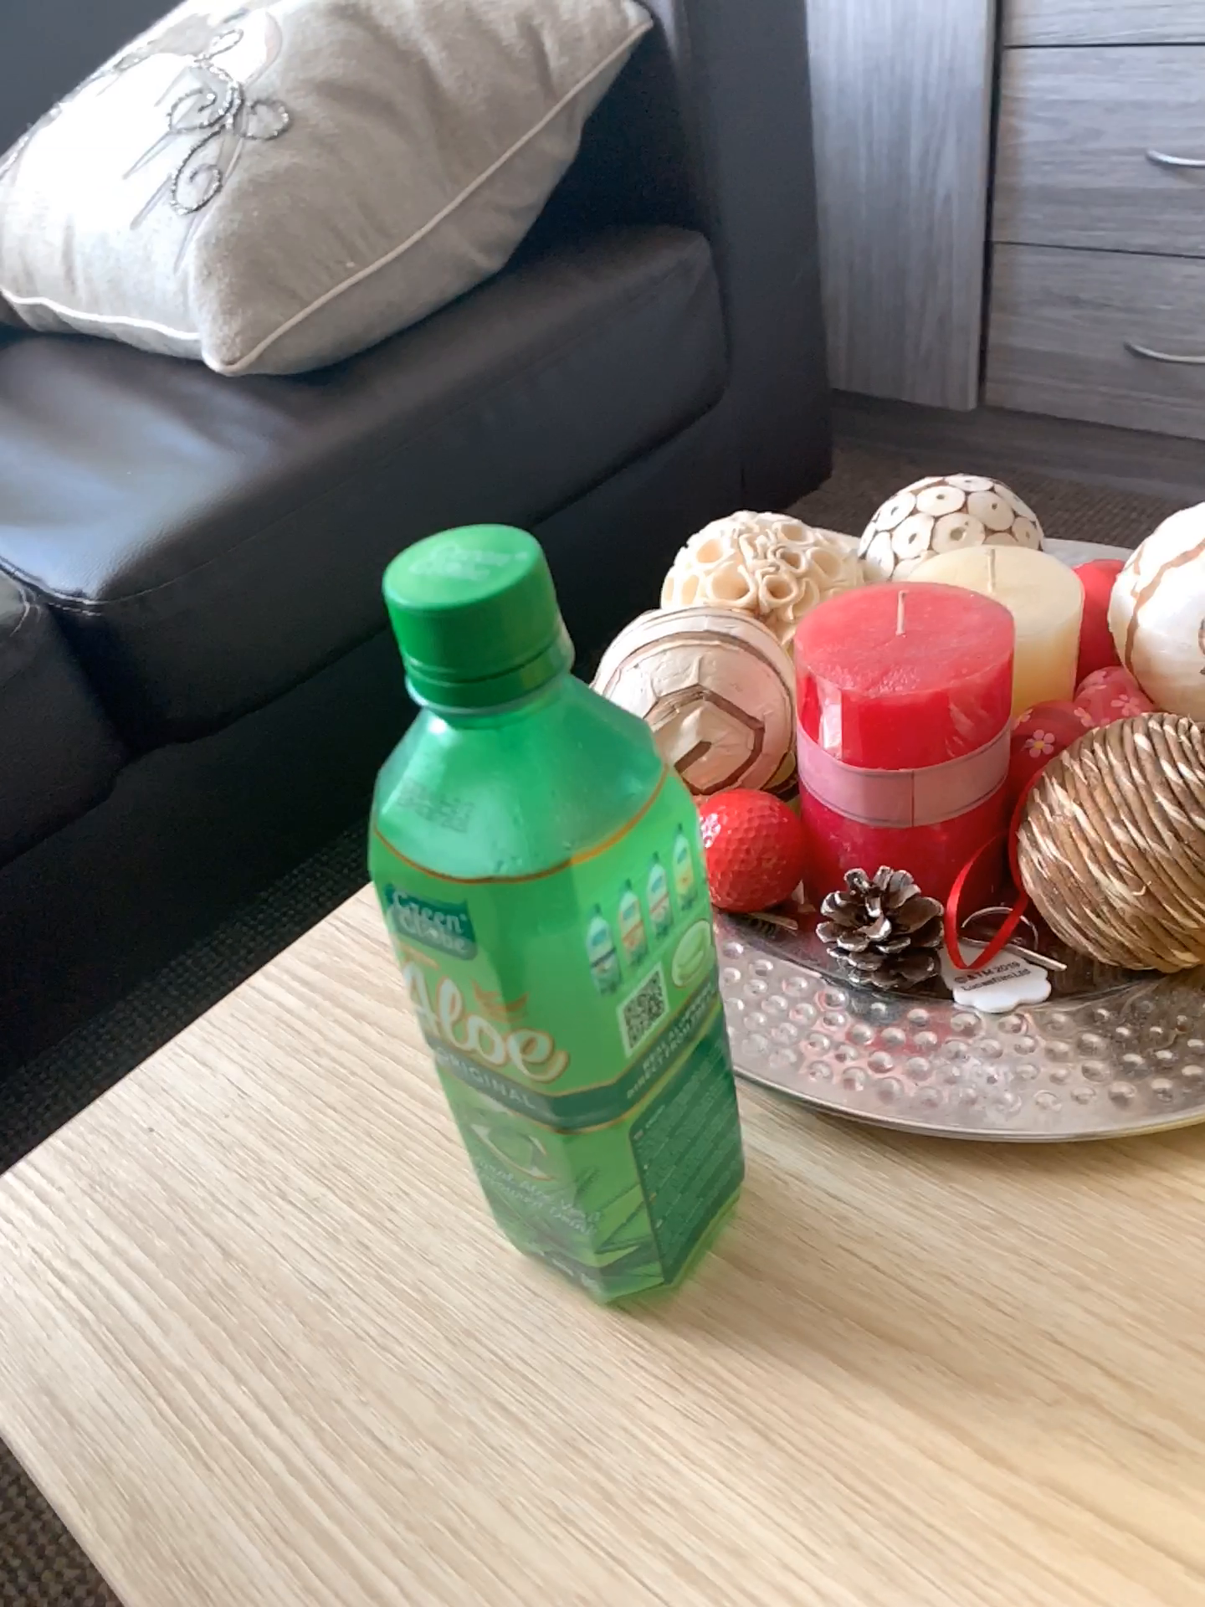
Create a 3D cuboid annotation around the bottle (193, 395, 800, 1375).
[{"bbox_3d":[-0.008,0.030,0.284,0.070,0.218,0.070,-6,38,5],"label":"bottle"}]
